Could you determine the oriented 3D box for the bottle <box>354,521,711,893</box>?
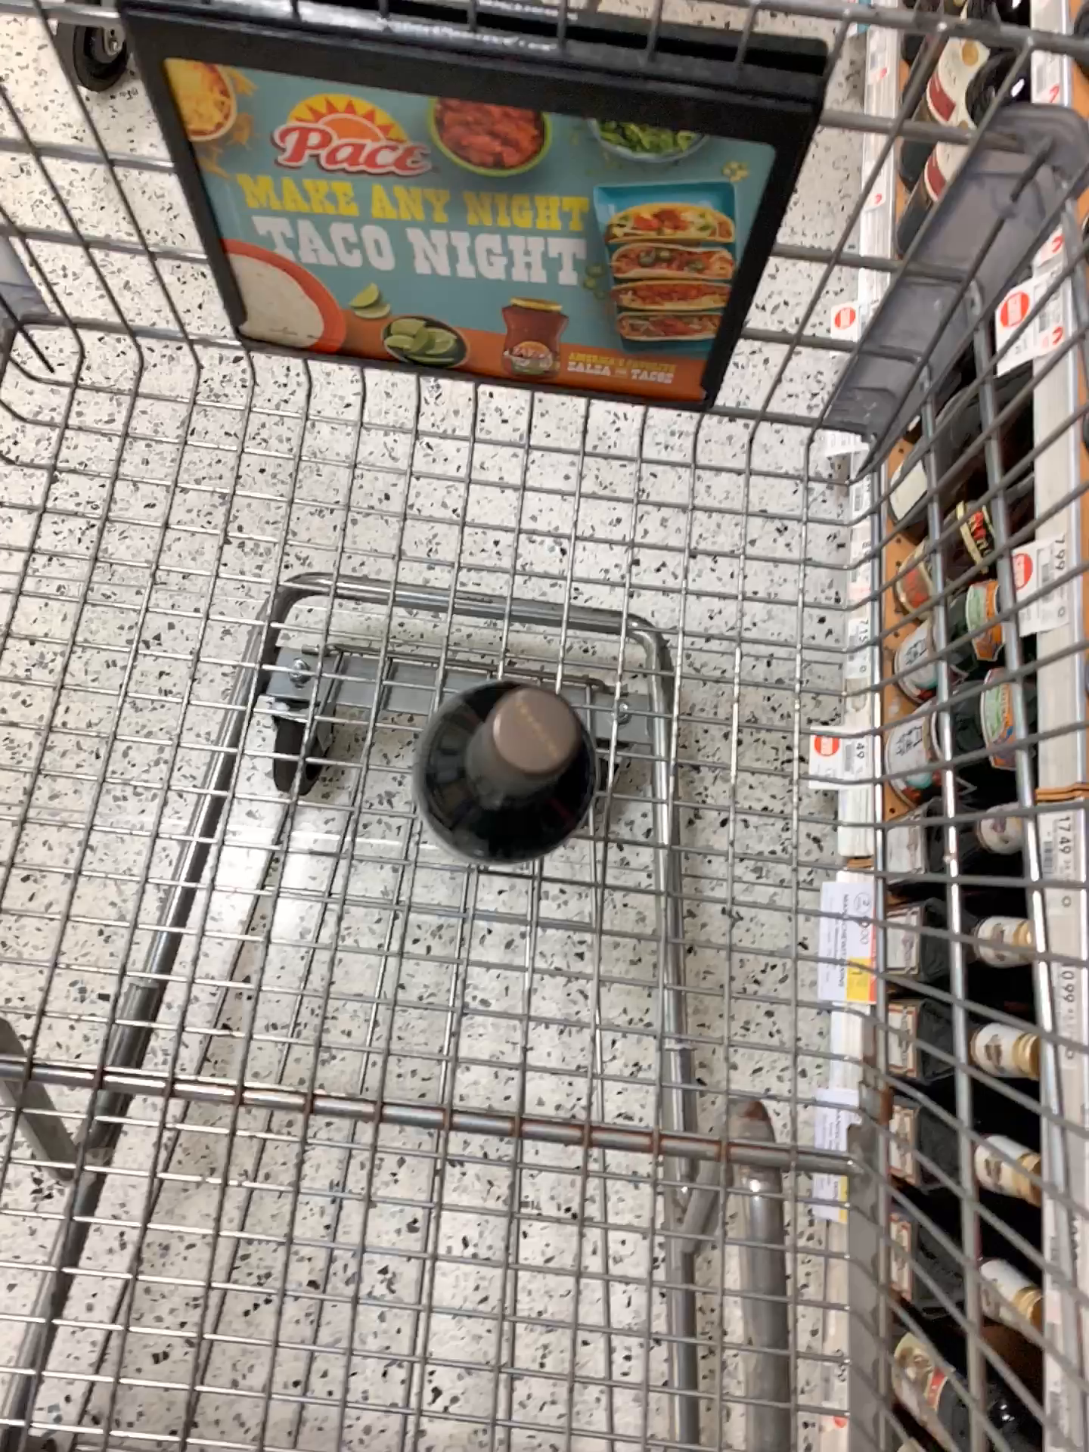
[{"bbox_3d":[-0.015,0.014,0.486,0.090,0.299,0.090,1,80,-4],"label":"bottle"}]
